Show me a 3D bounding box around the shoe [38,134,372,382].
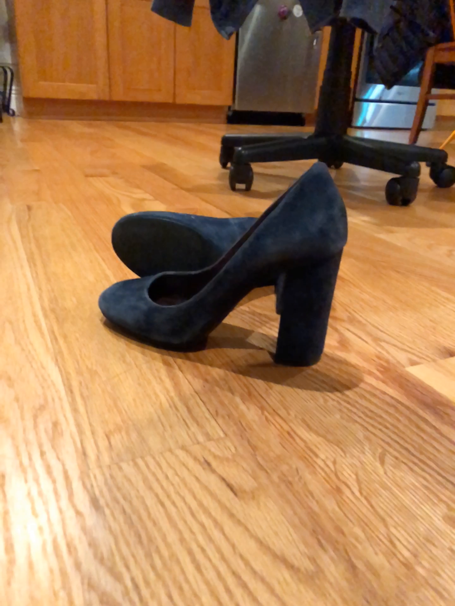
[{"bbox_3d":[-0.017,-0.043,0.388,0.226,0.146,0.081,9,23,13],"label":"shoe"}]

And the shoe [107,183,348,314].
[{"bbox_3d":[0.001,-0.063,0.510,0.204,0.080,0.153,4,23,1],"label":"shoe"}]
